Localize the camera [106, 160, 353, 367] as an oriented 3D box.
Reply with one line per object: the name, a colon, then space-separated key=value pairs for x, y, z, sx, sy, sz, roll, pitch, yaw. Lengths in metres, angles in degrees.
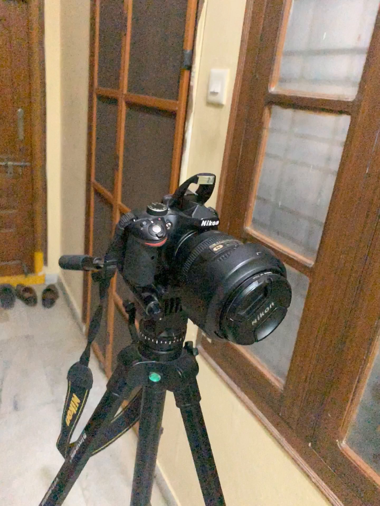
camera: x=0.023 y=-0.012 z=0.412 sx=0.150 sy=0.129 sz=0.201 roll=-7 pitch=26 yaw=-33
